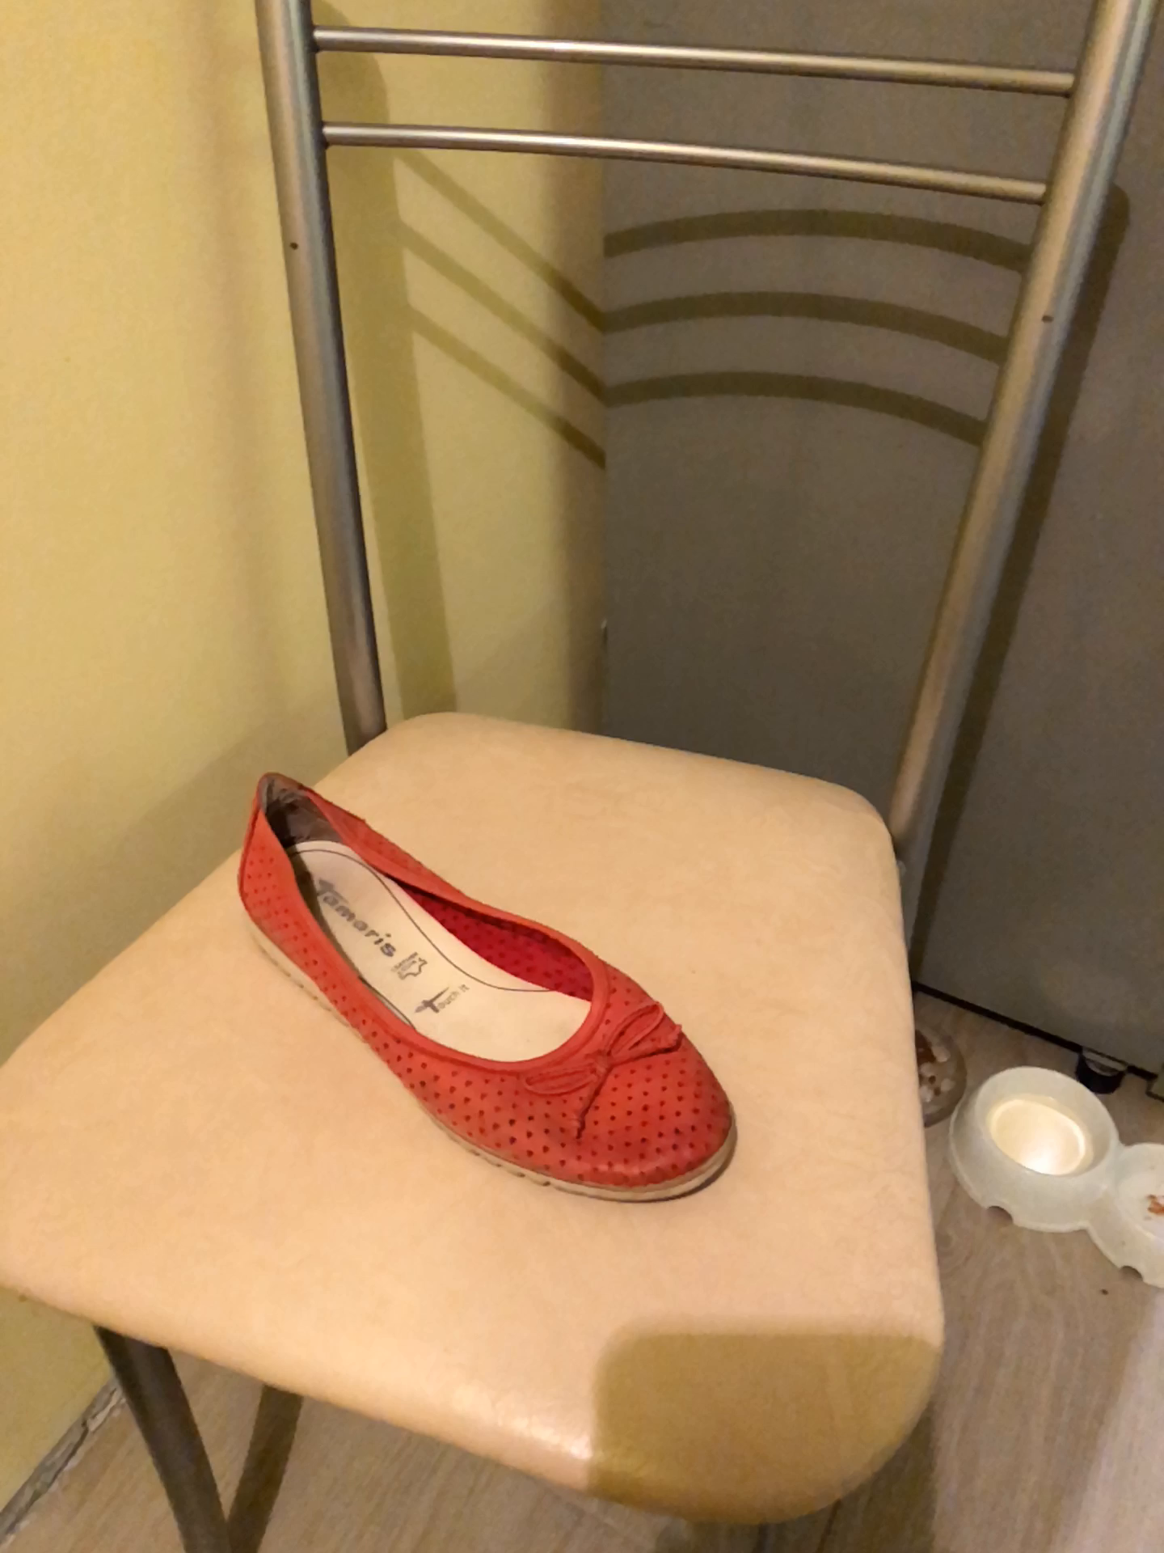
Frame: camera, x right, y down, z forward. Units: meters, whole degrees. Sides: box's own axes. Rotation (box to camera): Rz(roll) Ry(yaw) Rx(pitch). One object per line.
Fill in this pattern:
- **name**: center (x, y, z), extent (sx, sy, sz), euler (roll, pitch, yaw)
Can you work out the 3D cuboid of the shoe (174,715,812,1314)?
- **shoe**: center (-0.044, 0.080, 0.515), extent (0.251, 0.080, 0.100), euler (30, 48, 32)
